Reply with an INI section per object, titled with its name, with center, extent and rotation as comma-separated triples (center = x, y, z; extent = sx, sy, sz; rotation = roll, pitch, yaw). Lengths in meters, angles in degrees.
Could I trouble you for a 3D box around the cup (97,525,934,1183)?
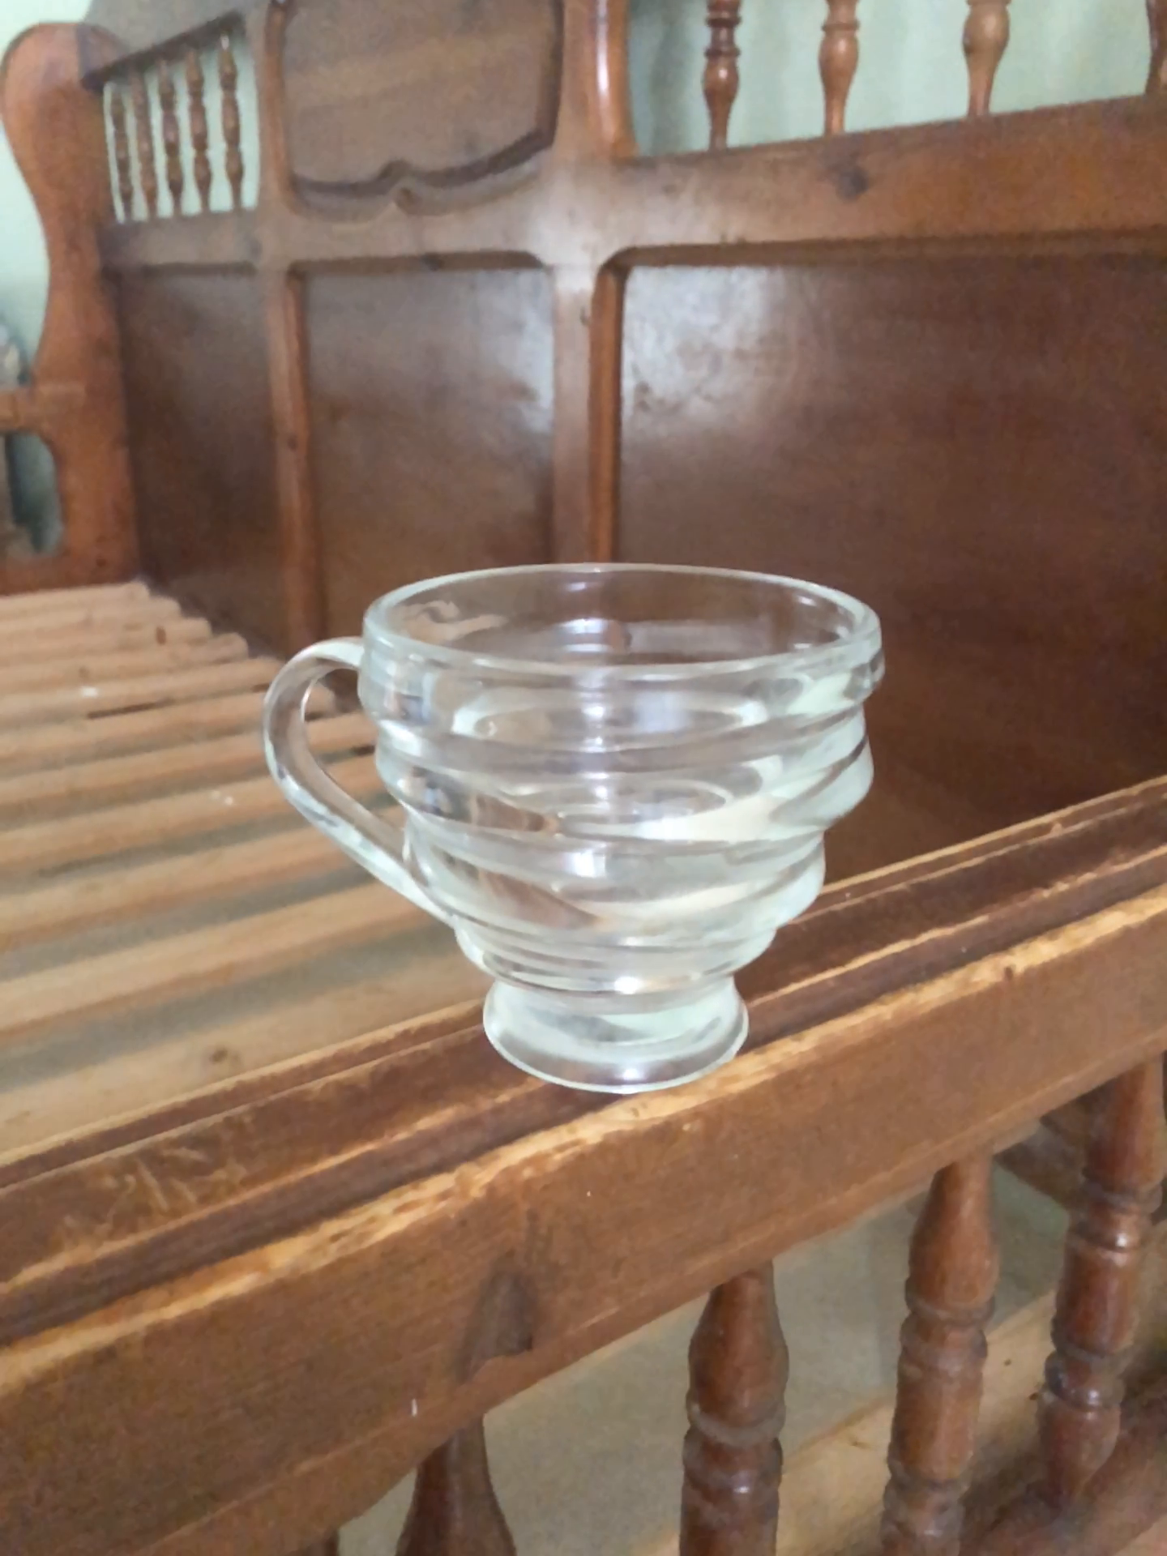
[cup]
center = -0.009, 0.001, 0.212
extent = 0.106, 0.065, 0.076
rotation = 11, 22, 29
